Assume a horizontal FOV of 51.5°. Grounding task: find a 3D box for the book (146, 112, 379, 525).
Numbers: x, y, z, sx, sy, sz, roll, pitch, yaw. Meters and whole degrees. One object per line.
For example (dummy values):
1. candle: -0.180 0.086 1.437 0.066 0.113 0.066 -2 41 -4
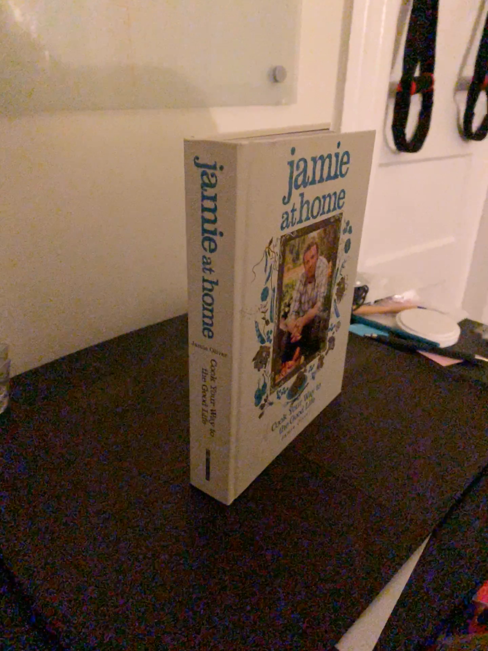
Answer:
1. book: 0.024 -0.019 0.400 0.050 0.269 0.211 18 30 31
